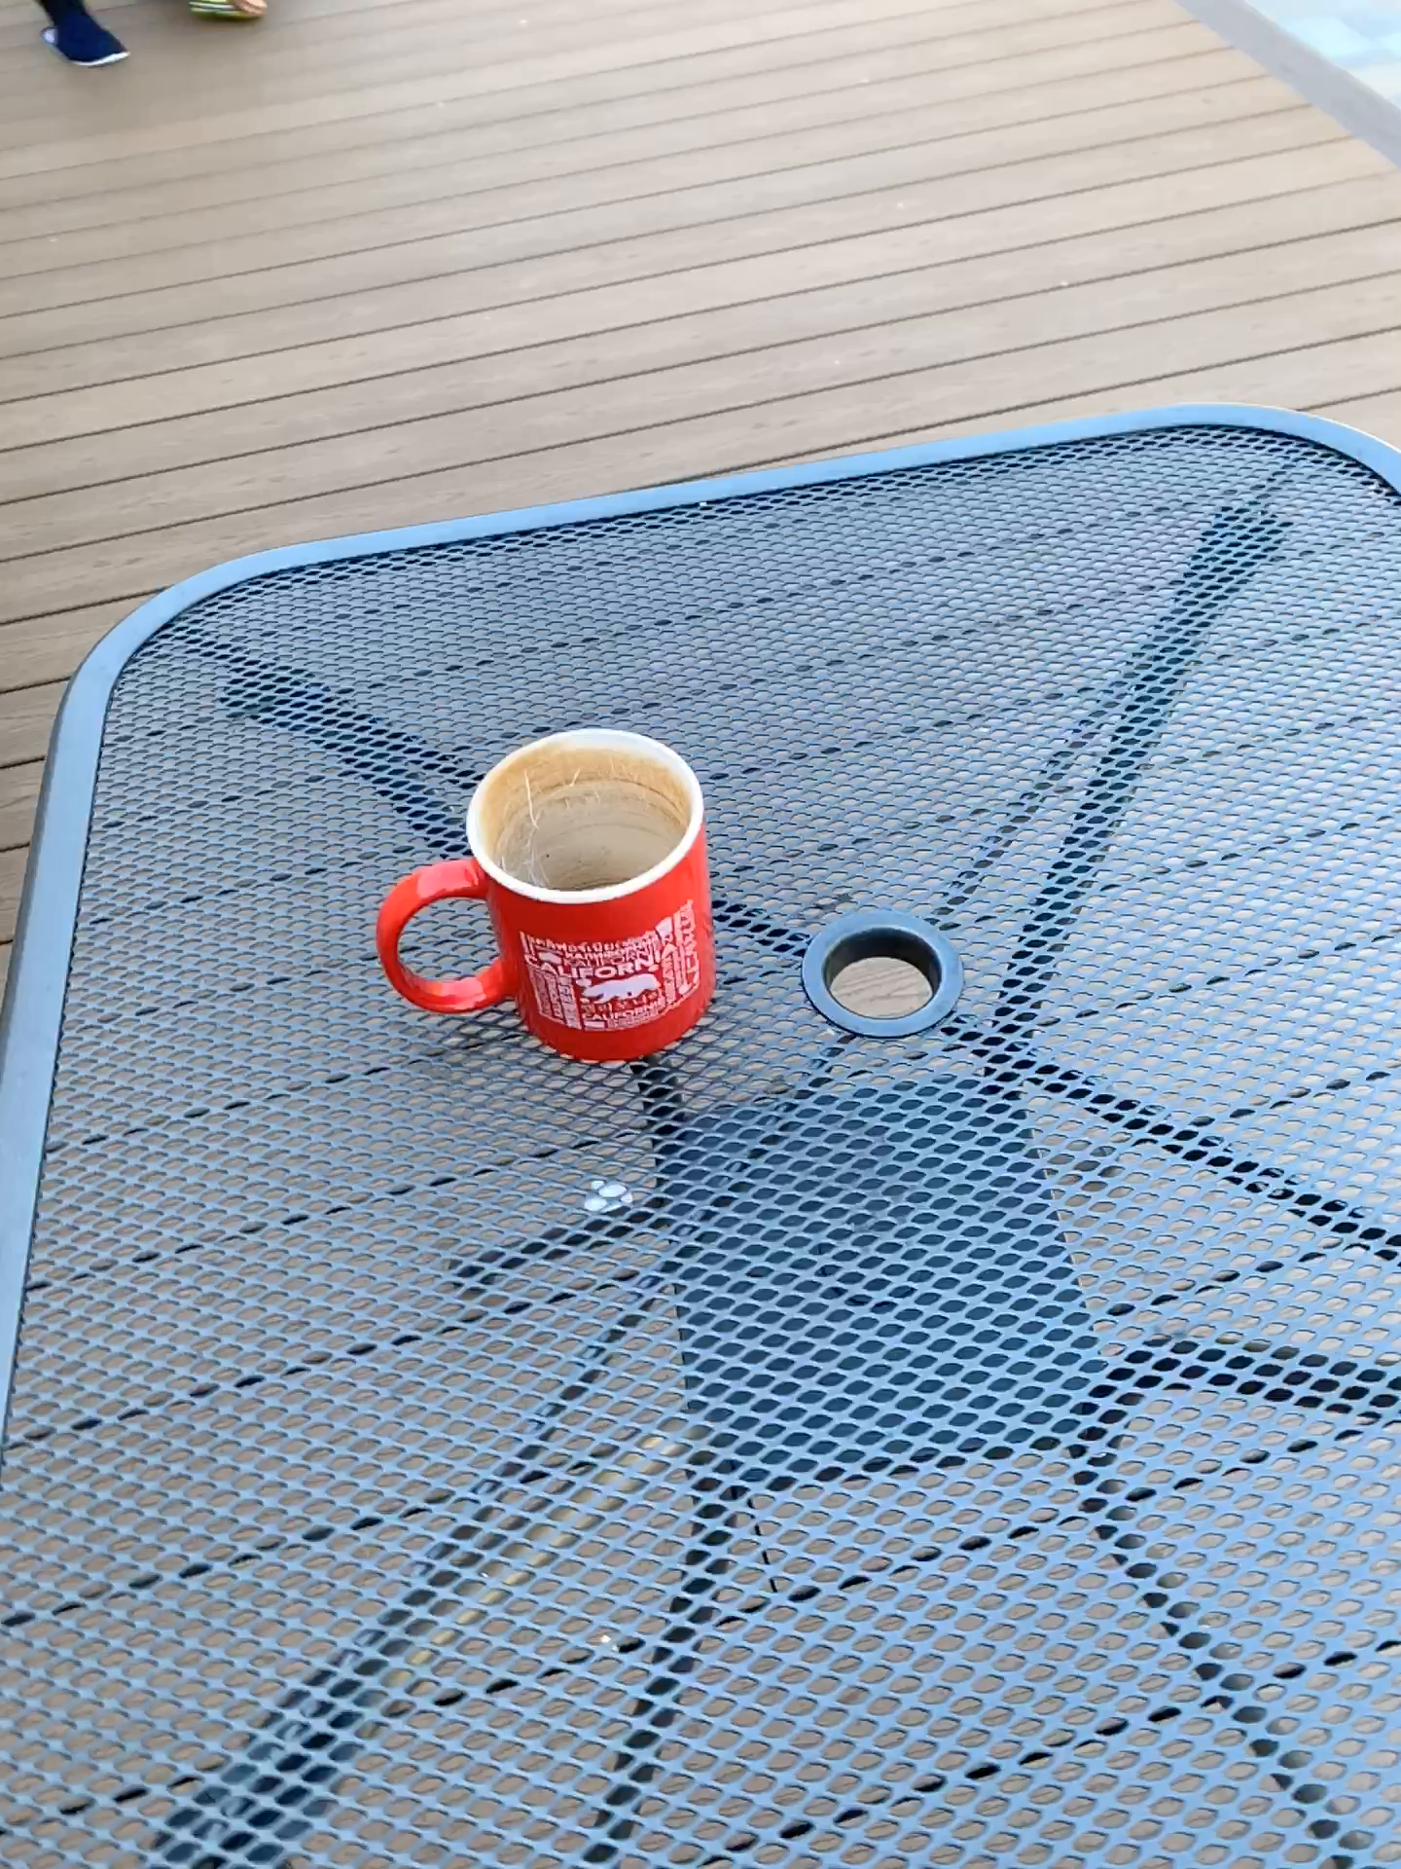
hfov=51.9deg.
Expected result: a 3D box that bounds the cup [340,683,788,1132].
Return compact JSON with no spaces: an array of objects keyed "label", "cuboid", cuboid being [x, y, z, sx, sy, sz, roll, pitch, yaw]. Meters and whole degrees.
[{"label":"cup","cuboid":[-0.050,-0.011,0.551,0.140,0.100,0.100,-15,51,-7]}]
